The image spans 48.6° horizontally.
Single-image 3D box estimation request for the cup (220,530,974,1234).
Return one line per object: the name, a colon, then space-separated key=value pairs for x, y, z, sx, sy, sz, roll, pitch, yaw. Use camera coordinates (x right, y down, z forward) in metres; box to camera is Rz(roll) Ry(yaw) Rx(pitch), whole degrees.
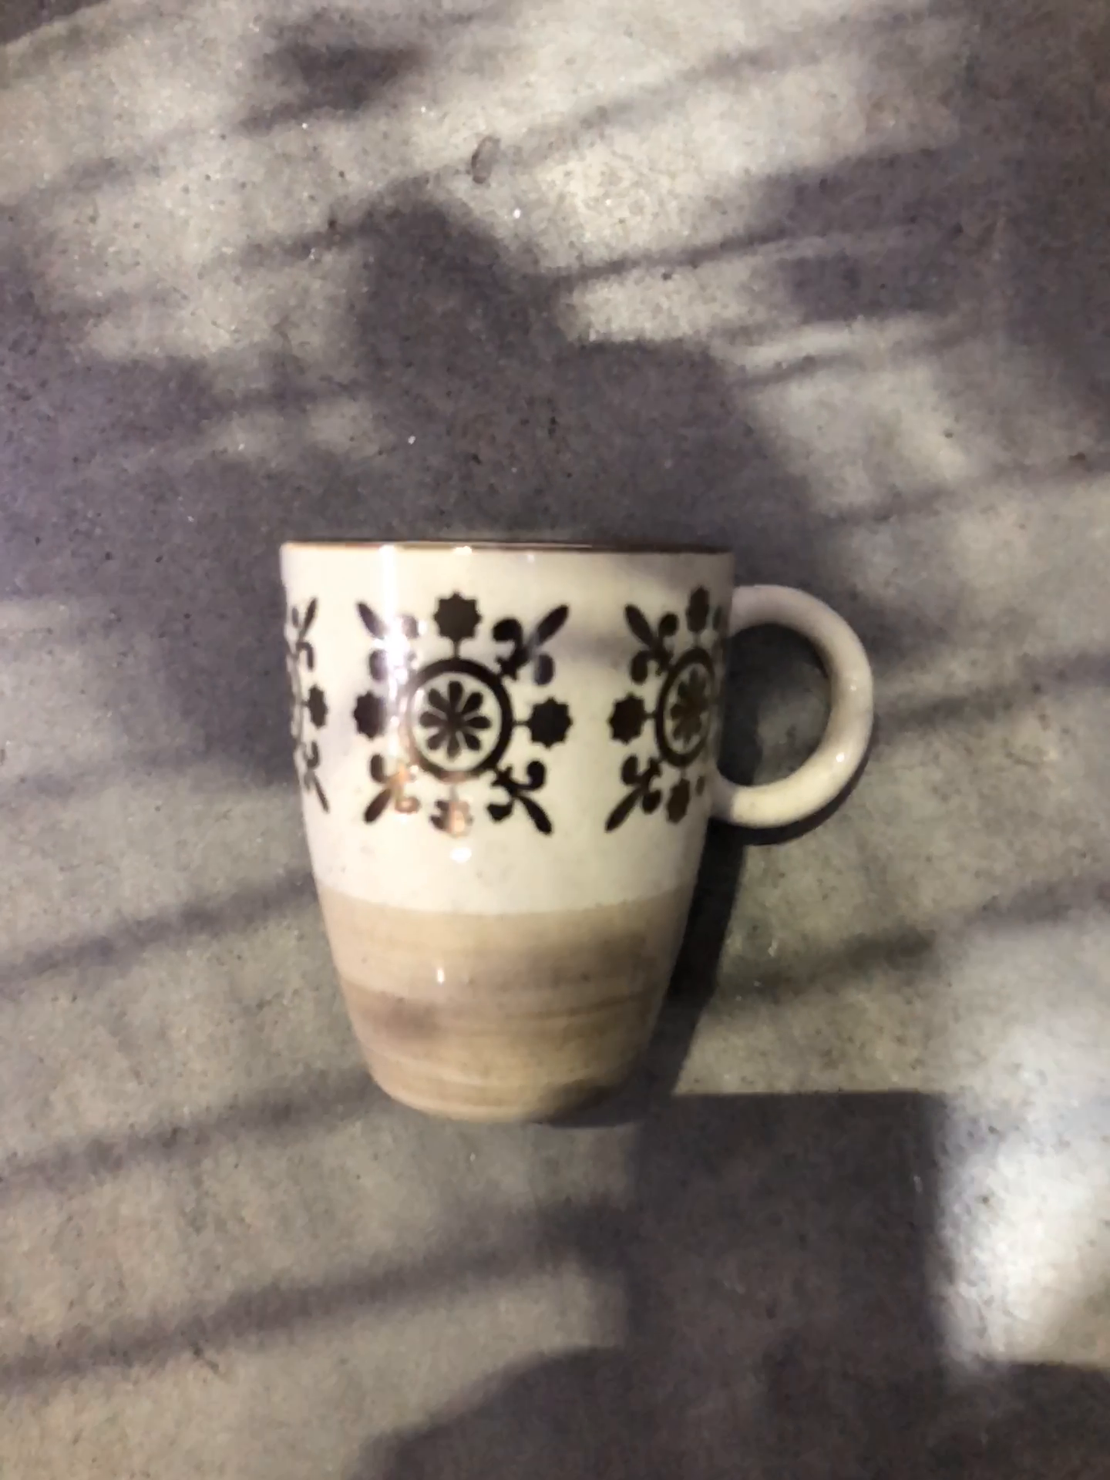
cup: x=0.000 y=0.013 z=0.198 sx=0.100 sy=0.070 sz=0.090 roll=-2 pitch=99 yaw=-13
